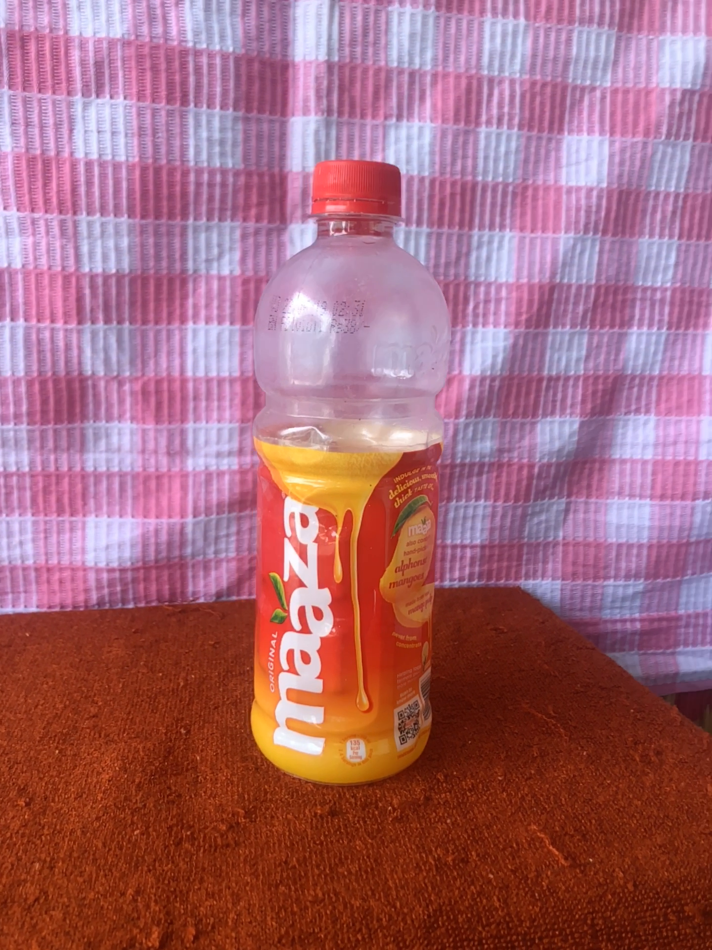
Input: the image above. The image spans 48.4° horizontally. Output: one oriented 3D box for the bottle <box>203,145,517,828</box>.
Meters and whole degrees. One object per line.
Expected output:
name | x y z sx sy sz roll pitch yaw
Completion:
bottle | 0.001 0.002 0.280 0.080 0.209 0.070 8 15 15
